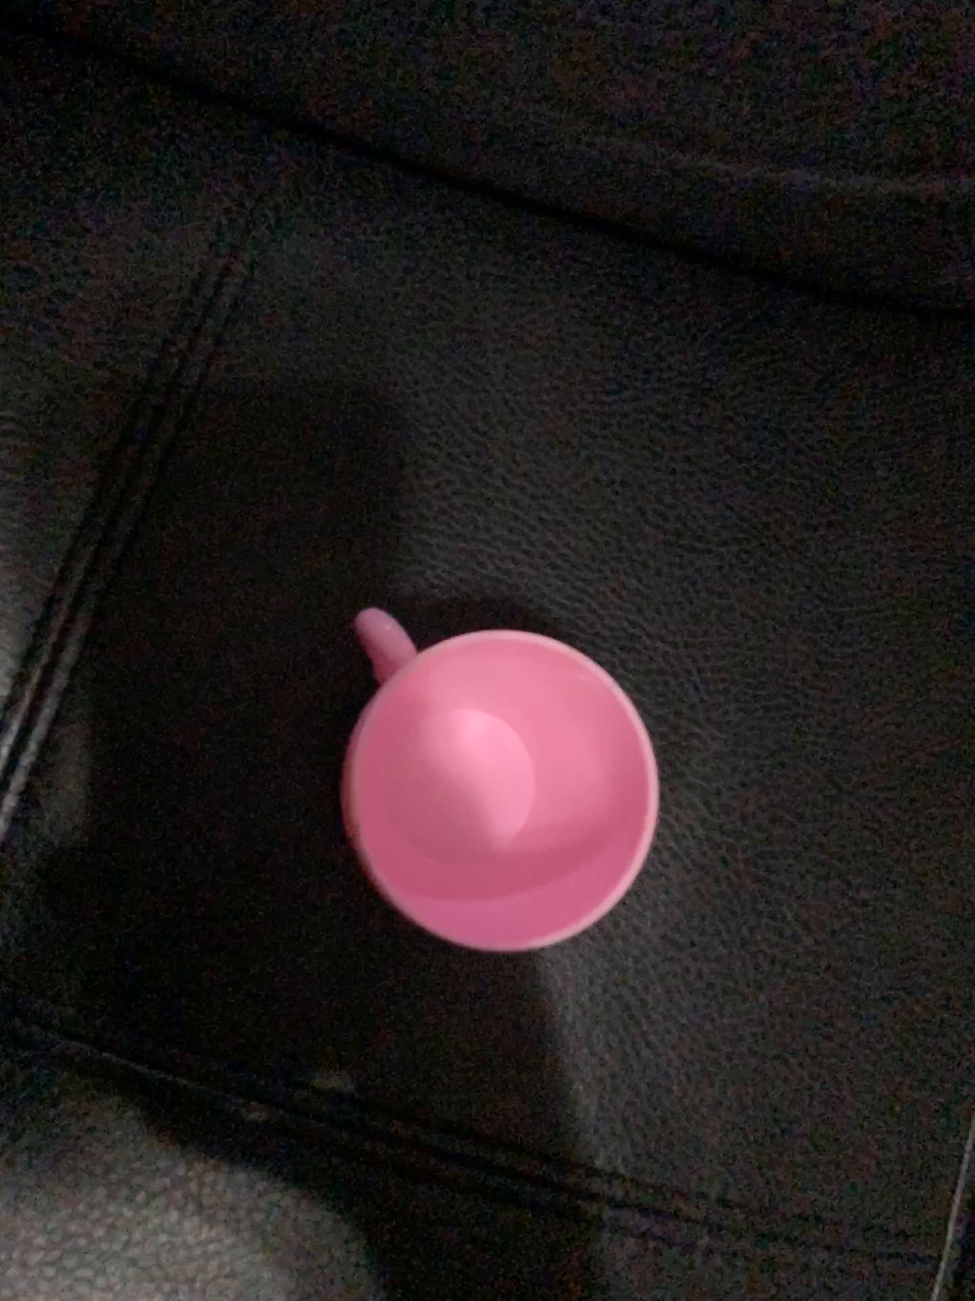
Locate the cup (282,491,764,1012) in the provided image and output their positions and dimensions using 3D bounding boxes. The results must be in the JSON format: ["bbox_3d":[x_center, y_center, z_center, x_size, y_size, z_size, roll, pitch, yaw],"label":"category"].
[{"bbox_3d":[0.004,0.020,0.211,0.060,0.045,0.077,-32,87,-15],"label":"cup"}]
